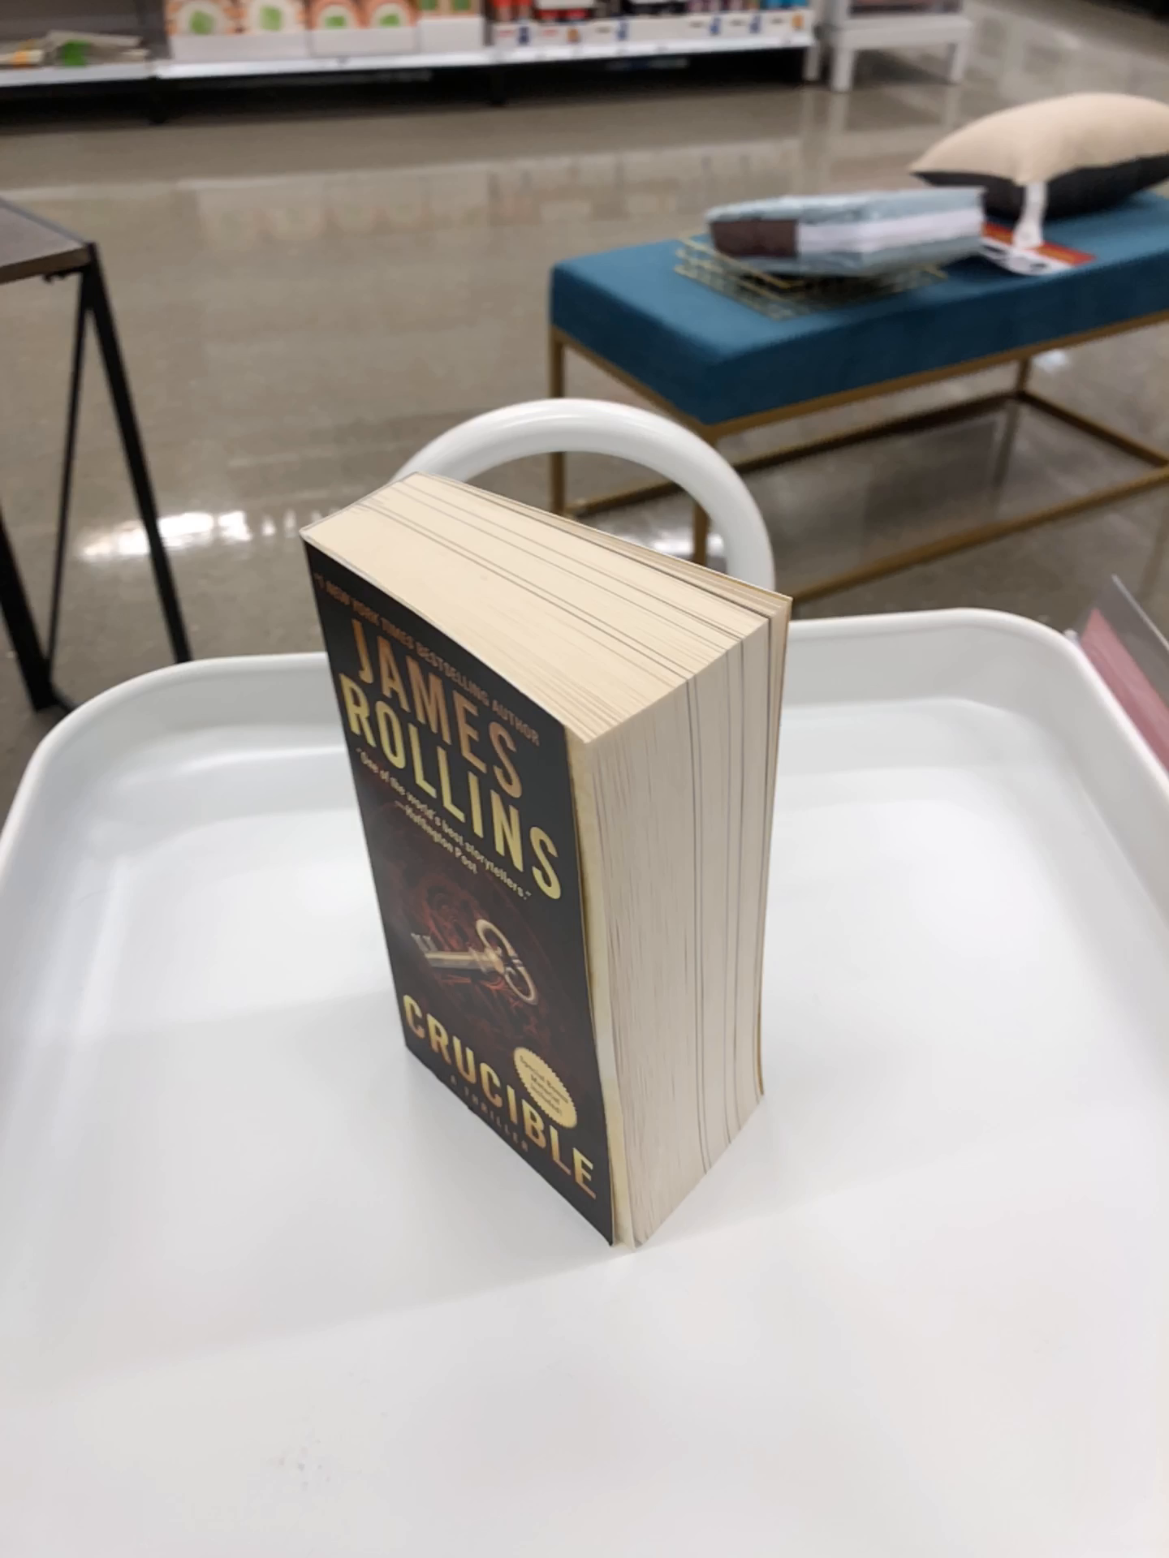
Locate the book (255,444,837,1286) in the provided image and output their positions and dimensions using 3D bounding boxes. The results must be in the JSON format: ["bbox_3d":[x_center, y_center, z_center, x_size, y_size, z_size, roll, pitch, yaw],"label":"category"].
[{"bbox_3d":[-0.009,0.026,0.340,0.113,0.184,0.066,31,50,33],"label":"book"}]
